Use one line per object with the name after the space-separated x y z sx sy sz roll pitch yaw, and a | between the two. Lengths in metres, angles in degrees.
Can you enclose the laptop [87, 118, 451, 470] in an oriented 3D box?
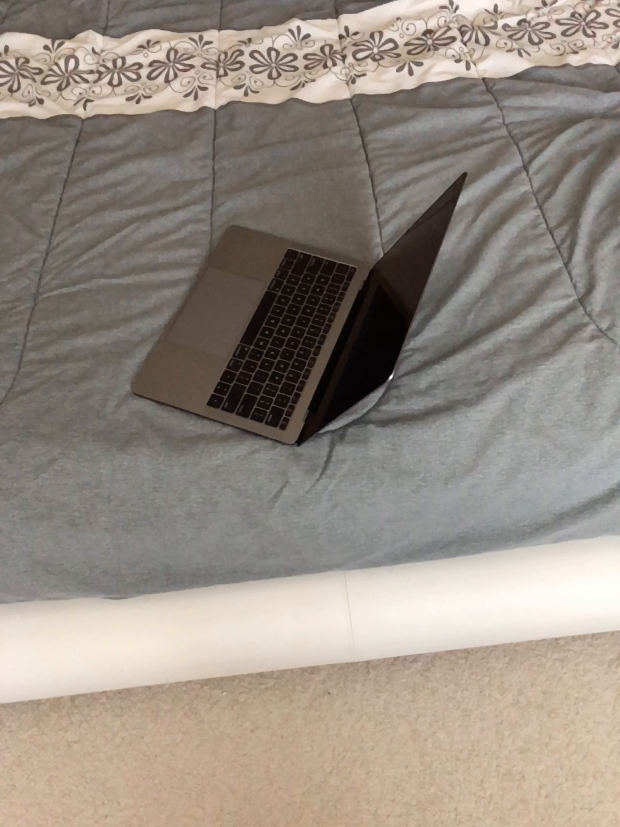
-0.024 -0.138 0.751 0.281 0.159 0.280 17 59 11 | laptop
